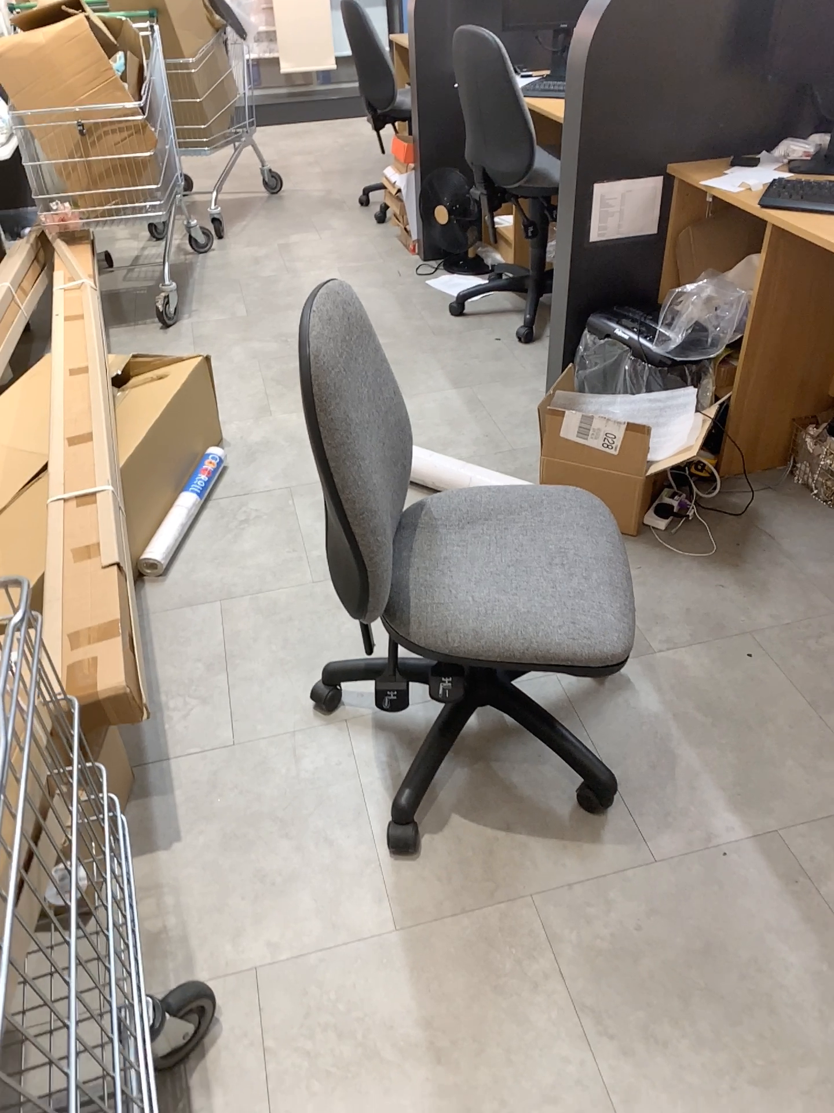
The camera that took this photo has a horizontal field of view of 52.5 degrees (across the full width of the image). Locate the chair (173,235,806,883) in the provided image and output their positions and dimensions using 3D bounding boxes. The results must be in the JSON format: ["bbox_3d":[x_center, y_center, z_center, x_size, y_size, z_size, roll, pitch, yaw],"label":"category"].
[{"bbox_3d":[0.100,-0.012,1.310,0.623,0.749,0.633,1,37,5],"label":"chair"}]
